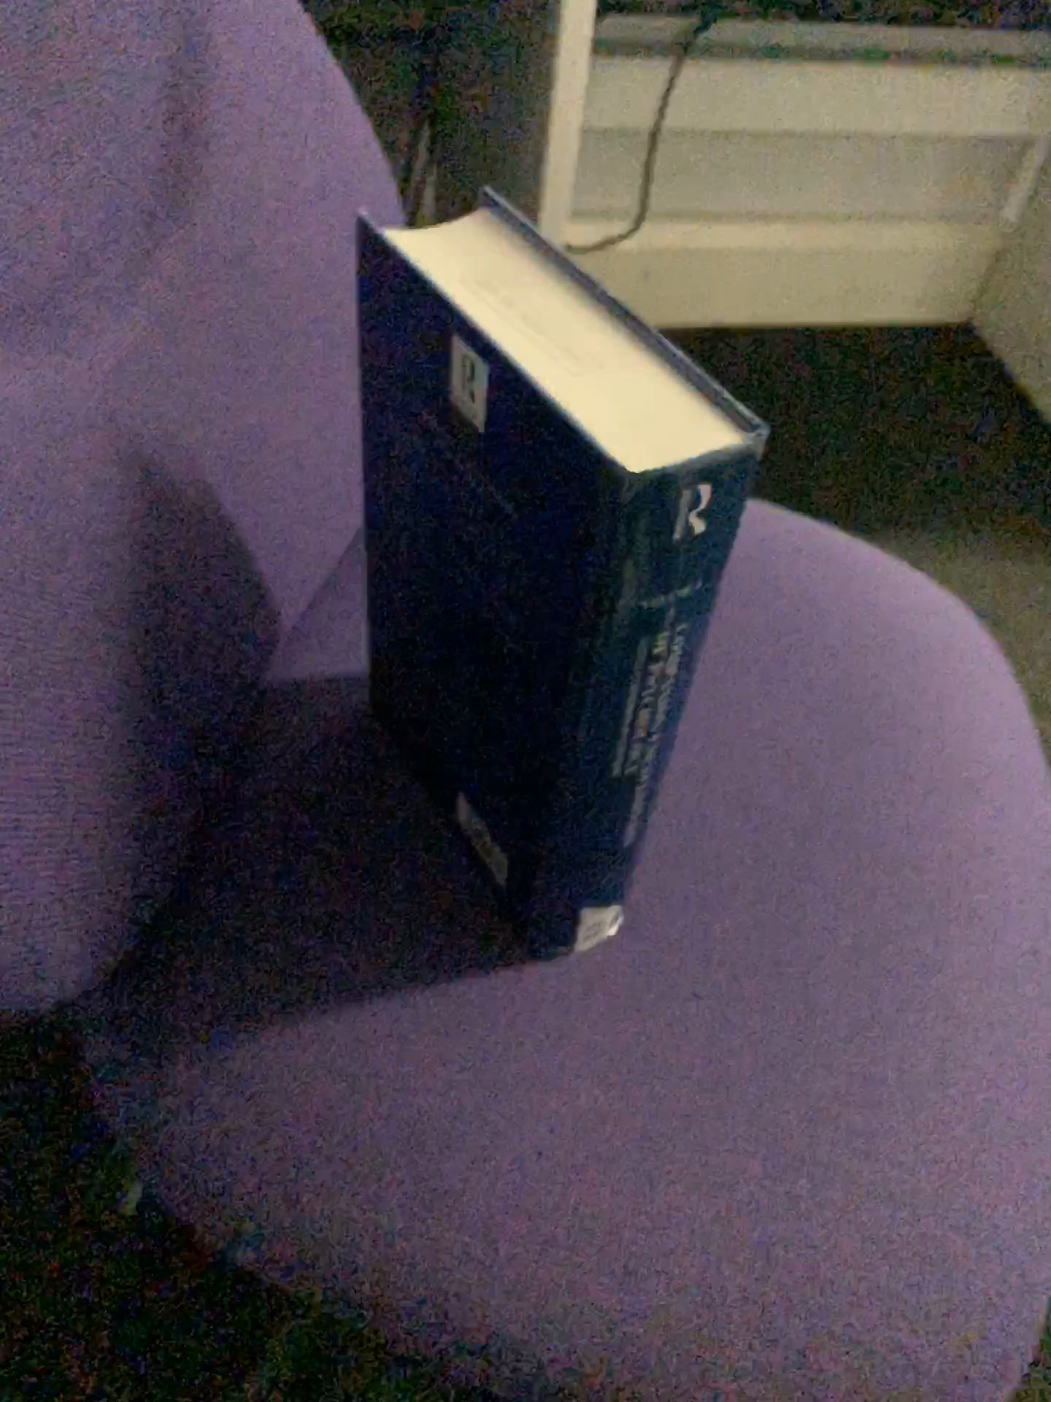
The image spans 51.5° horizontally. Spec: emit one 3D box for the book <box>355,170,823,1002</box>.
[{"bbox_3d":[-0.004,-0.030,0.424,0.052,0.263,0.182,-19,54,-24],"label":"book"}]
